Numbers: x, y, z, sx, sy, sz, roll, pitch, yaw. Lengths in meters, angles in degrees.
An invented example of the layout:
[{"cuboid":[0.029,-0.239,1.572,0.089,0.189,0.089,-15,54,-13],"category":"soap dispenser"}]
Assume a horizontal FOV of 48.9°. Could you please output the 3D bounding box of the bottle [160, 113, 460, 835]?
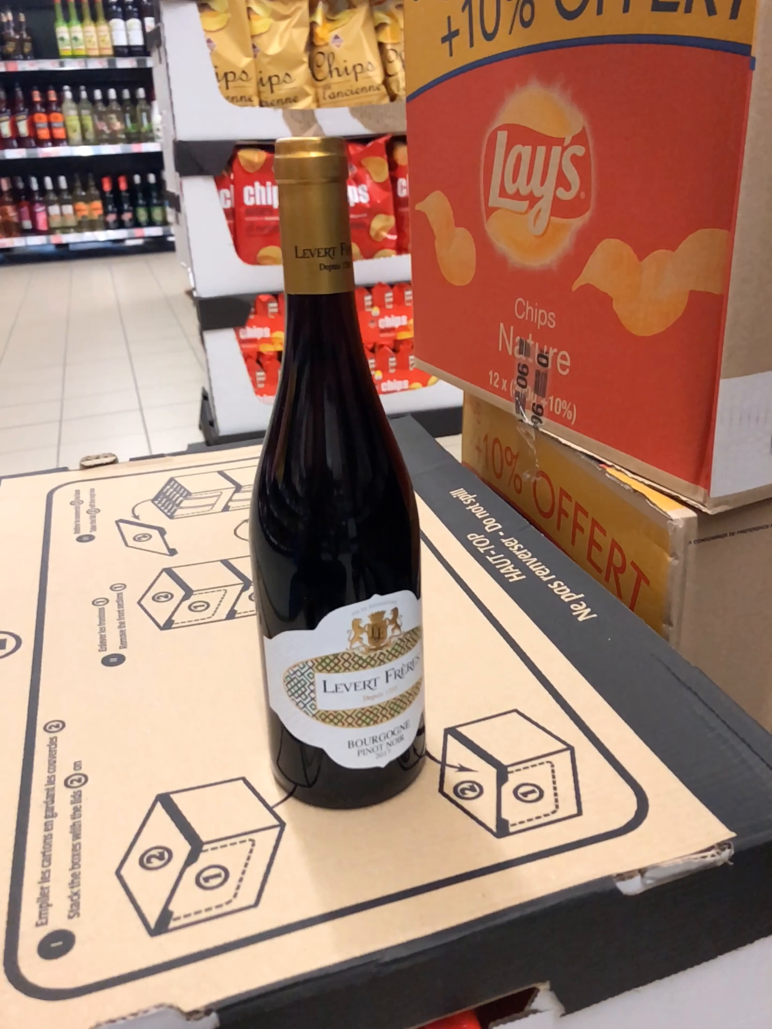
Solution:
[{"cuboid":[-0.027,-0.012,0.379,0.090,0.298,0.080,-11,26,-18],"category":"bottle"}]
